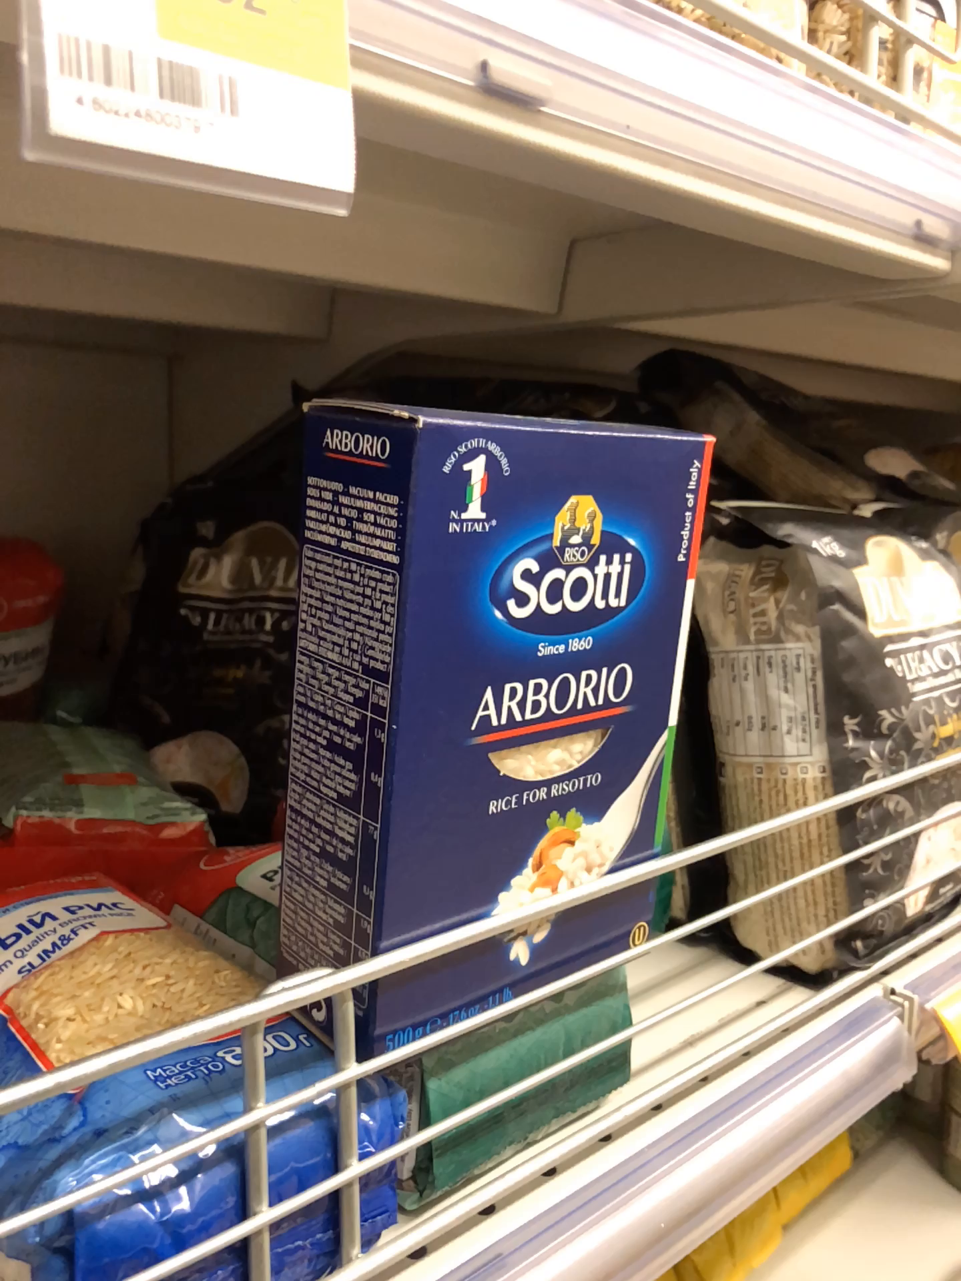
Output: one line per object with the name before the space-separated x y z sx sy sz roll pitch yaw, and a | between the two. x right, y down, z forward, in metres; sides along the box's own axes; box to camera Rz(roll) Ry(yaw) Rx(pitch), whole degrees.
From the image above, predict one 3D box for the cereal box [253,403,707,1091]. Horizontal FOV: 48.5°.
cereal box | 0.001 0.020 0.297 0.110 0.160 0.050 -6 15 -44
